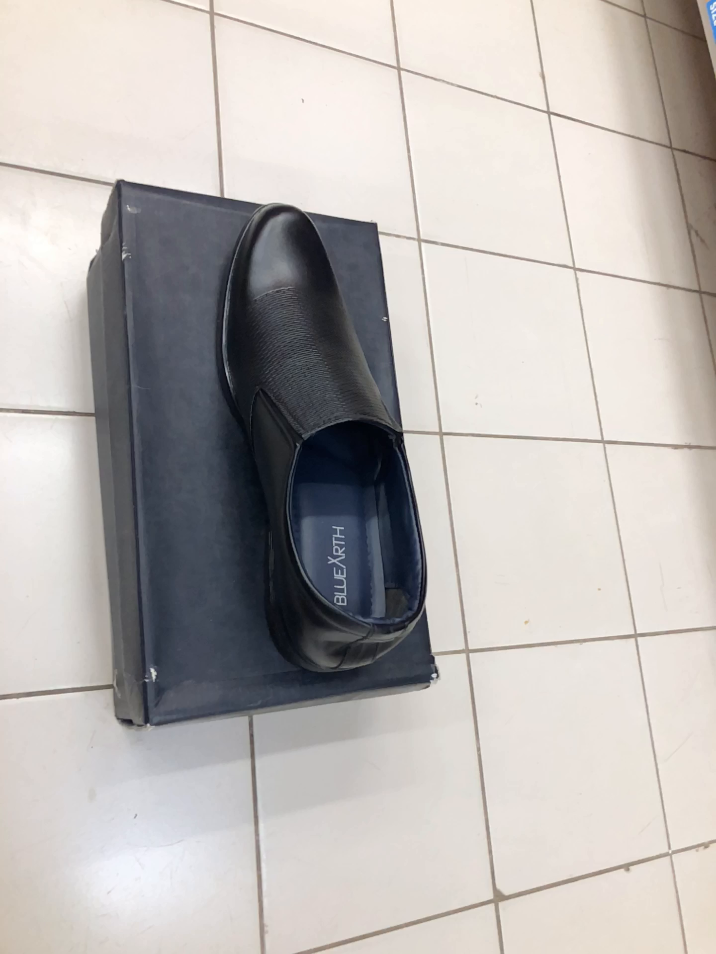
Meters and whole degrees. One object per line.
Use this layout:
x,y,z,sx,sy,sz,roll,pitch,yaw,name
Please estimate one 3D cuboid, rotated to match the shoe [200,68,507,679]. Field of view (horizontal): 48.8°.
-0.016,-0.056,0.497,0.101,0.129,0.340,-2,77,-27,shoe
